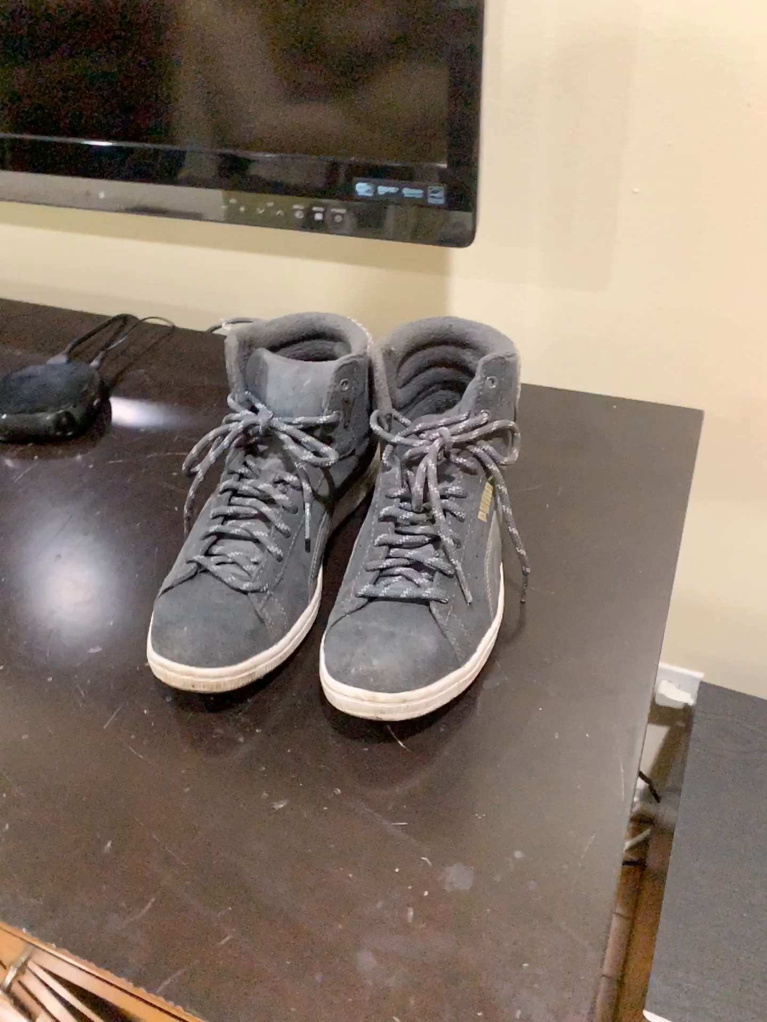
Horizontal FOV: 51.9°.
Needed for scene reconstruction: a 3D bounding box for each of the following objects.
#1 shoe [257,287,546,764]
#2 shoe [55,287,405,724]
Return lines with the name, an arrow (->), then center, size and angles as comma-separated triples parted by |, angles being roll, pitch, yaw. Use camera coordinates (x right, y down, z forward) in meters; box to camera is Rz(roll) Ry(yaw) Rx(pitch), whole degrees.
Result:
shoe -> 0.027, -0.011, 0.448 | 0.097, 0.124, 0.254 | 7, 41, 12
shoe -> -0.064, -0.023, 0.469 | 0.100, 0.107, 0.262 | 7, 41, 12
